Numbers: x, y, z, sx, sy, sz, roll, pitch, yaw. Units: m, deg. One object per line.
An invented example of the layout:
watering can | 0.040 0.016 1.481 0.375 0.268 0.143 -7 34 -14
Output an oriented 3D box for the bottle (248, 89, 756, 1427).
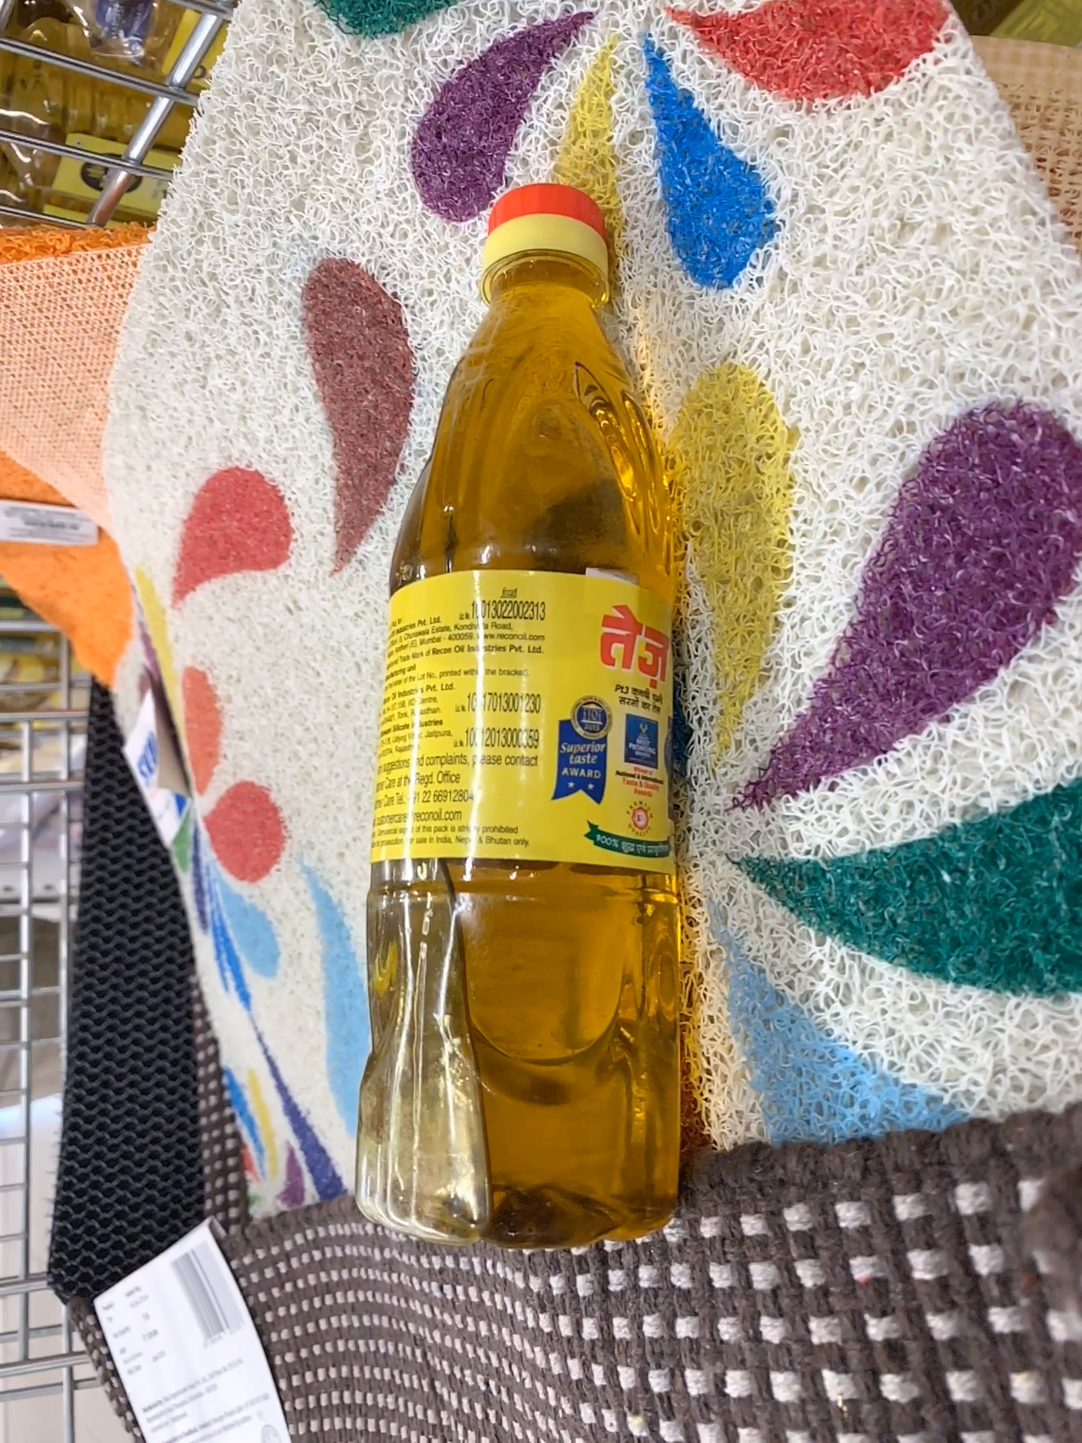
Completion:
bottle | -0.009 0.004 0.213 0.071 0.060 0.200 -7 81 46
